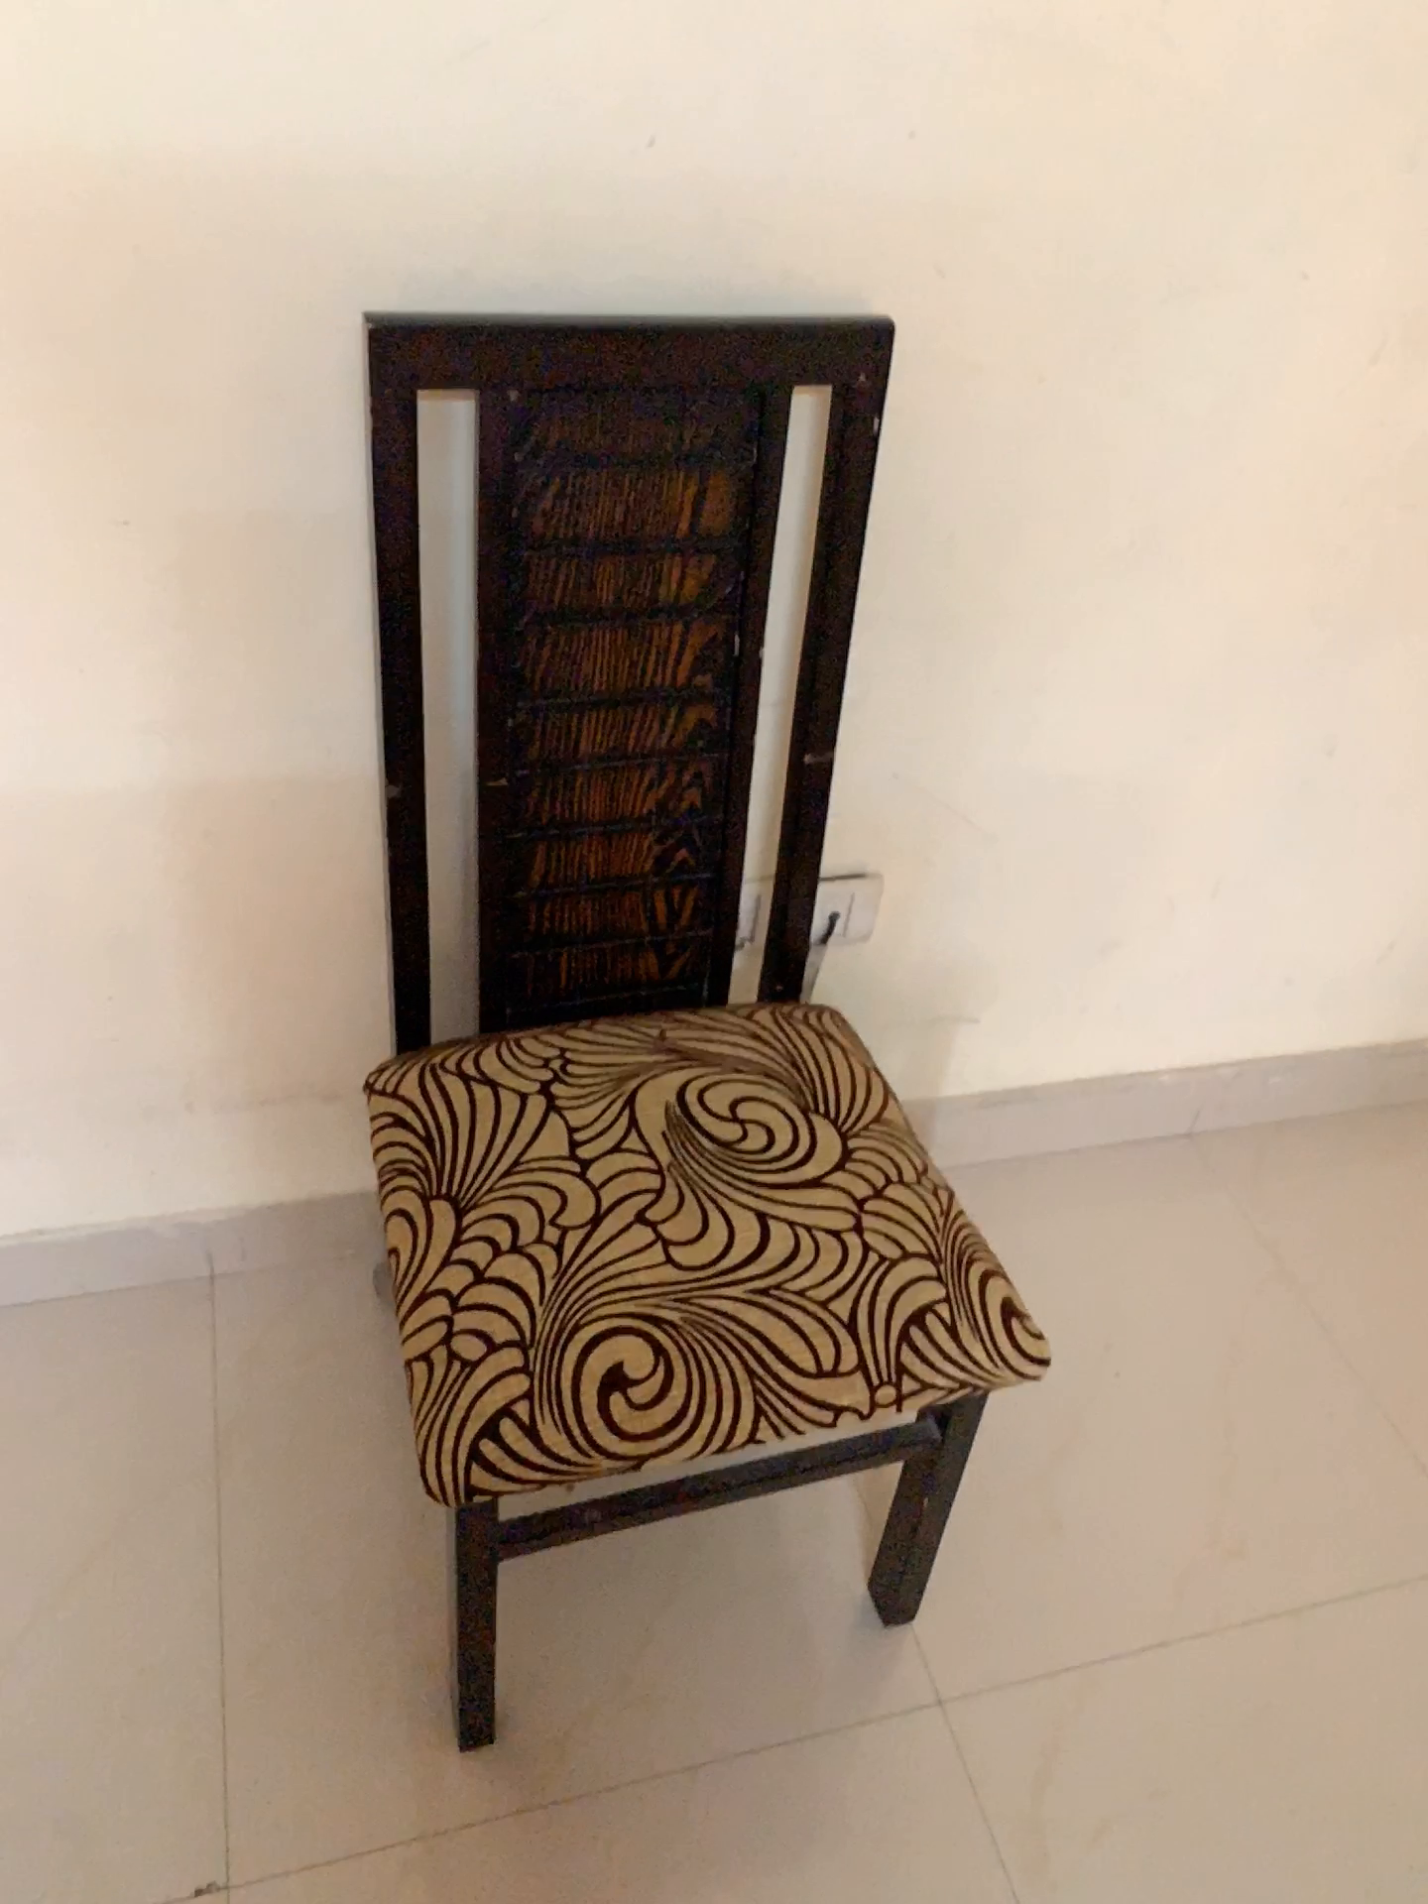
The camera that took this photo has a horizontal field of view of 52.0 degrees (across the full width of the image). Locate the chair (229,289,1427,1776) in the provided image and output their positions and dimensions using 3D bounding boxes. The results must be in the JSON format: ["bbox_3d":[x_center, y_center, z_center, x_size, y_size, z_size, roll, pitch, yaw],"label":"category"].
[{"bbox_3d":[-0.032,0.061,1.141,0.531,0.922,0.584,-8,40,-19],"label":"chair"}]
